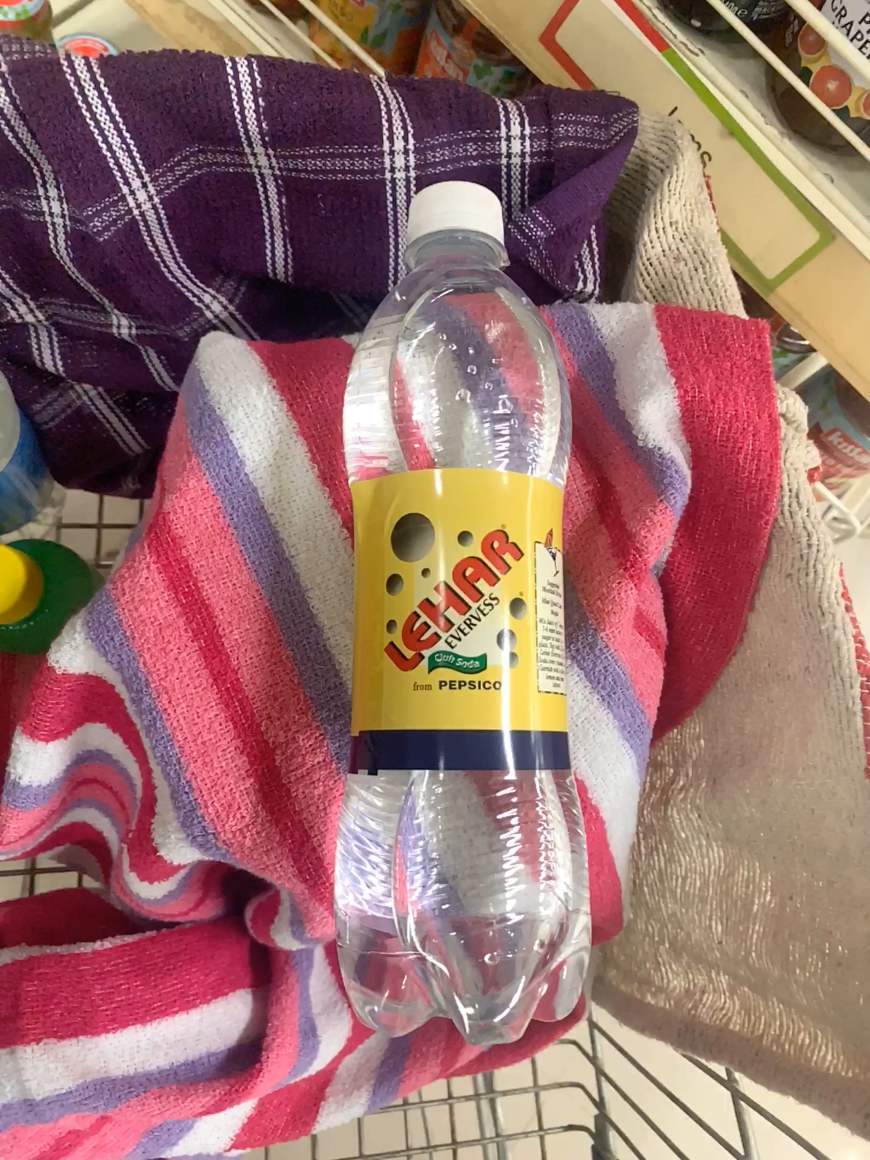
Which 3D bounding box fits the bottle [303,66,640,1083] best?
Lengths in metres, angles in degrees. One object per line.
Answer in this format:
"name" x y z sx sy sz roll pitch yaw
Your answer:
"bottle" 0.003 -0.007 0.248 0.070 0.070 0.240 2 79 -11
